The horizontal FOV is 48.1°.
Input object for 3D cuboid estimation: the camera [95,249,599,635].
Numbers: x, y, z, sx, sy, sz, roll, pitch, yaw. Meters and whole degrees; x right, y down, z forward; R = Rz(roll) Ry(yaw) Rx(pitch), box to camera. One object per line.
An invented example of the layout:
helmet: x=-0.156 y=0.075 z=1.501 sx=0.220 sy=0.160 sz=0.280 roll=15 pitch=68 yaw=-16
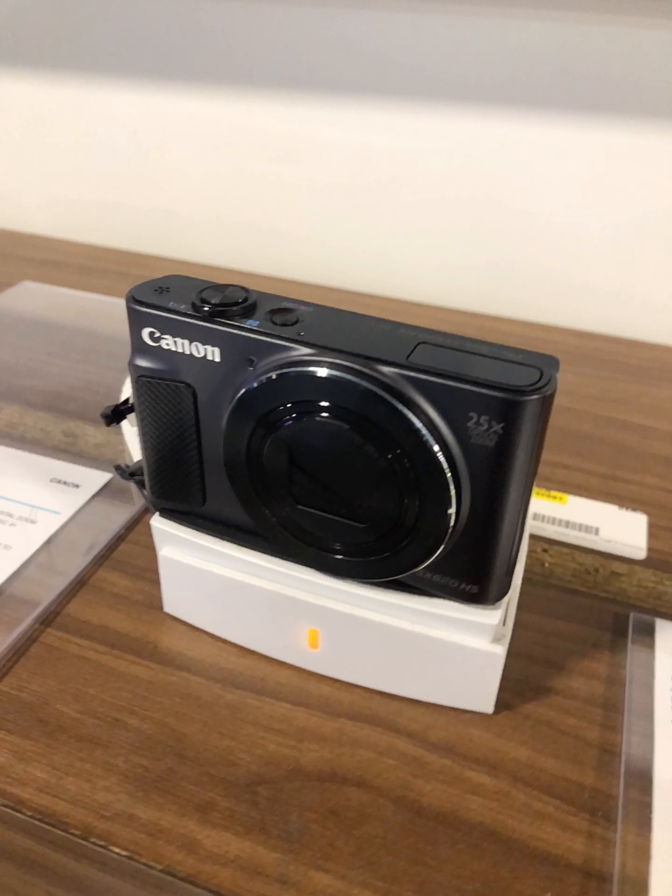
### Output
camera: x=0.000 y=-0.004 z=0.171 sx=0.100 sy=0.060 sz=0.030 roll=14 pitch=33 yaw=16
